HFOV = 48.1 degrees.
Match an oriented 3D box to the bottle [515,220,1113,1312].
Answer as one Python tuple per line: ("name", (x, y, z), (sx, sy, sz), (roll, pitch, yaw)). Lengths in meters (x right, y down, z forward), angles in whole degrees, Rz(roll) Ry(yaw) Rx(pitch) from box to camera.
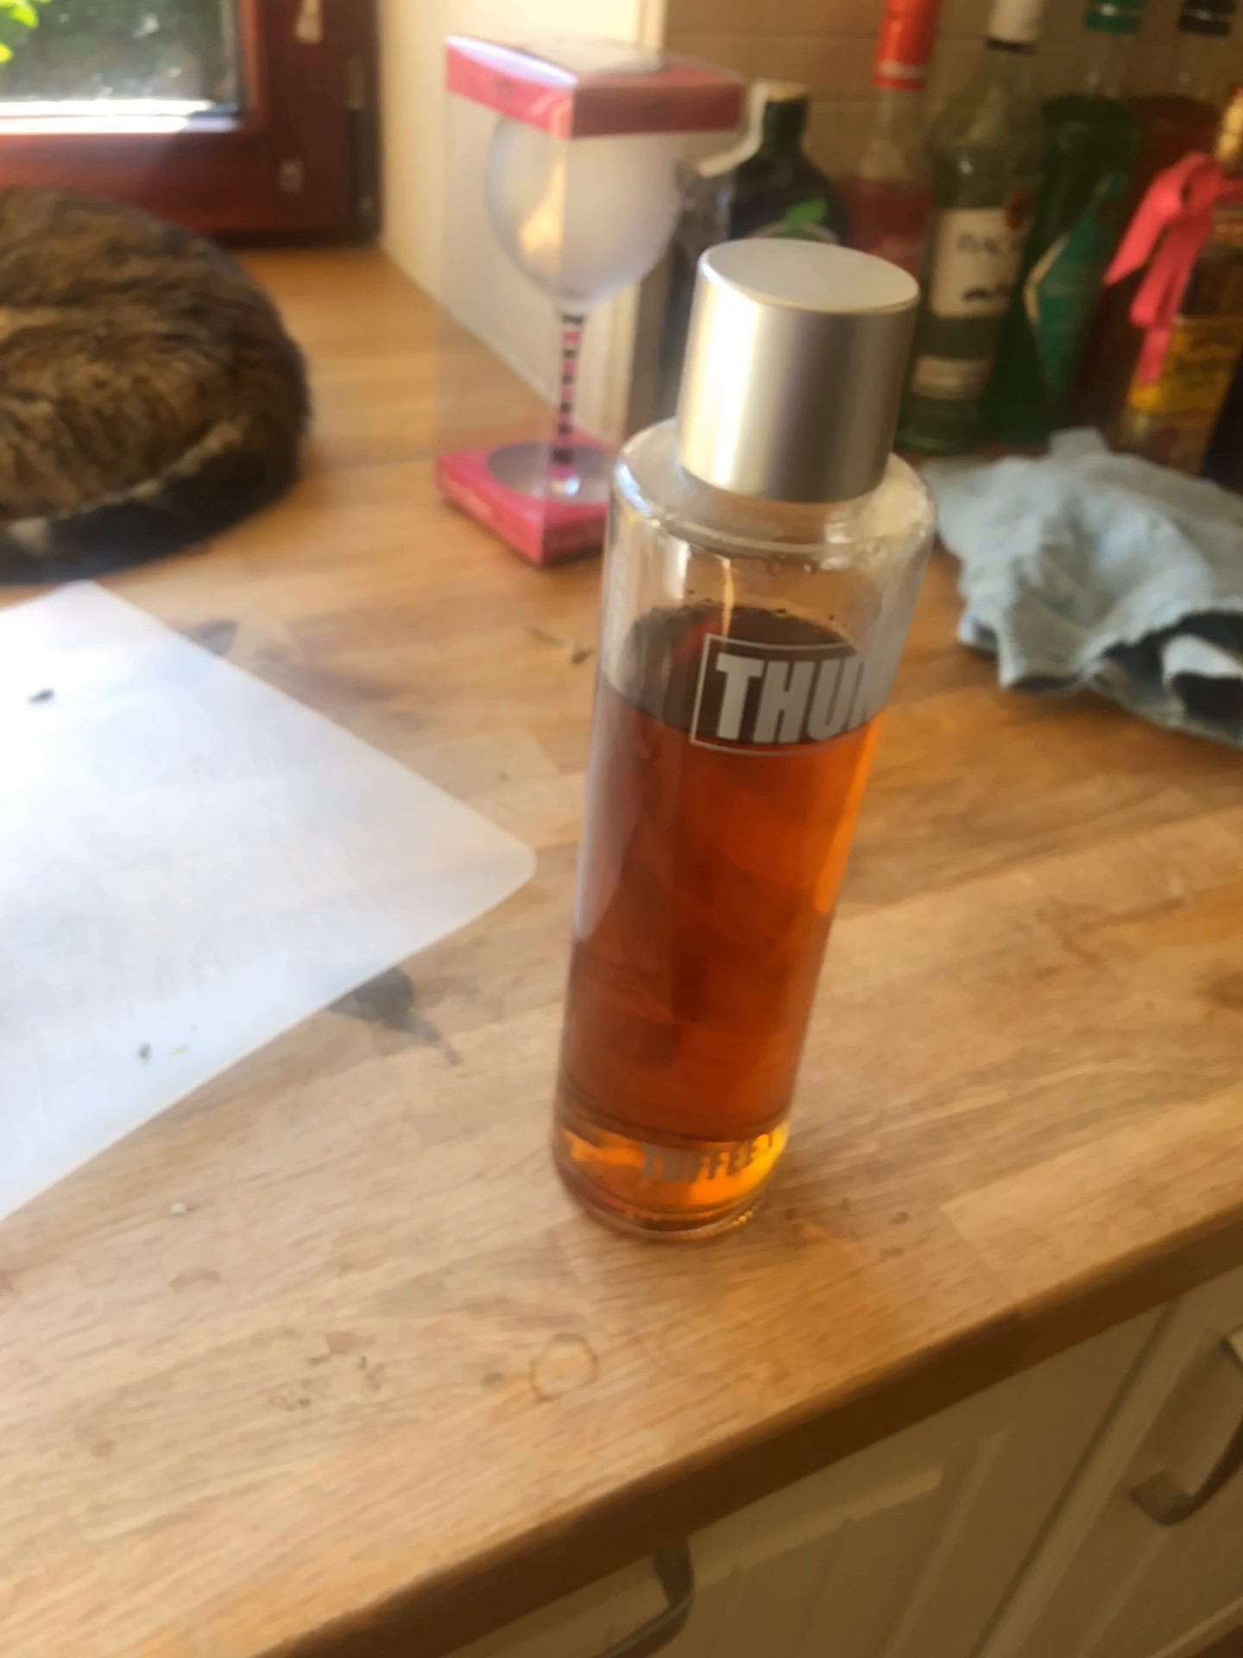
("bottle", (0.030, -0.002, 0.366), (0.080, 0.278, 0.080), (4, 36, -3))
